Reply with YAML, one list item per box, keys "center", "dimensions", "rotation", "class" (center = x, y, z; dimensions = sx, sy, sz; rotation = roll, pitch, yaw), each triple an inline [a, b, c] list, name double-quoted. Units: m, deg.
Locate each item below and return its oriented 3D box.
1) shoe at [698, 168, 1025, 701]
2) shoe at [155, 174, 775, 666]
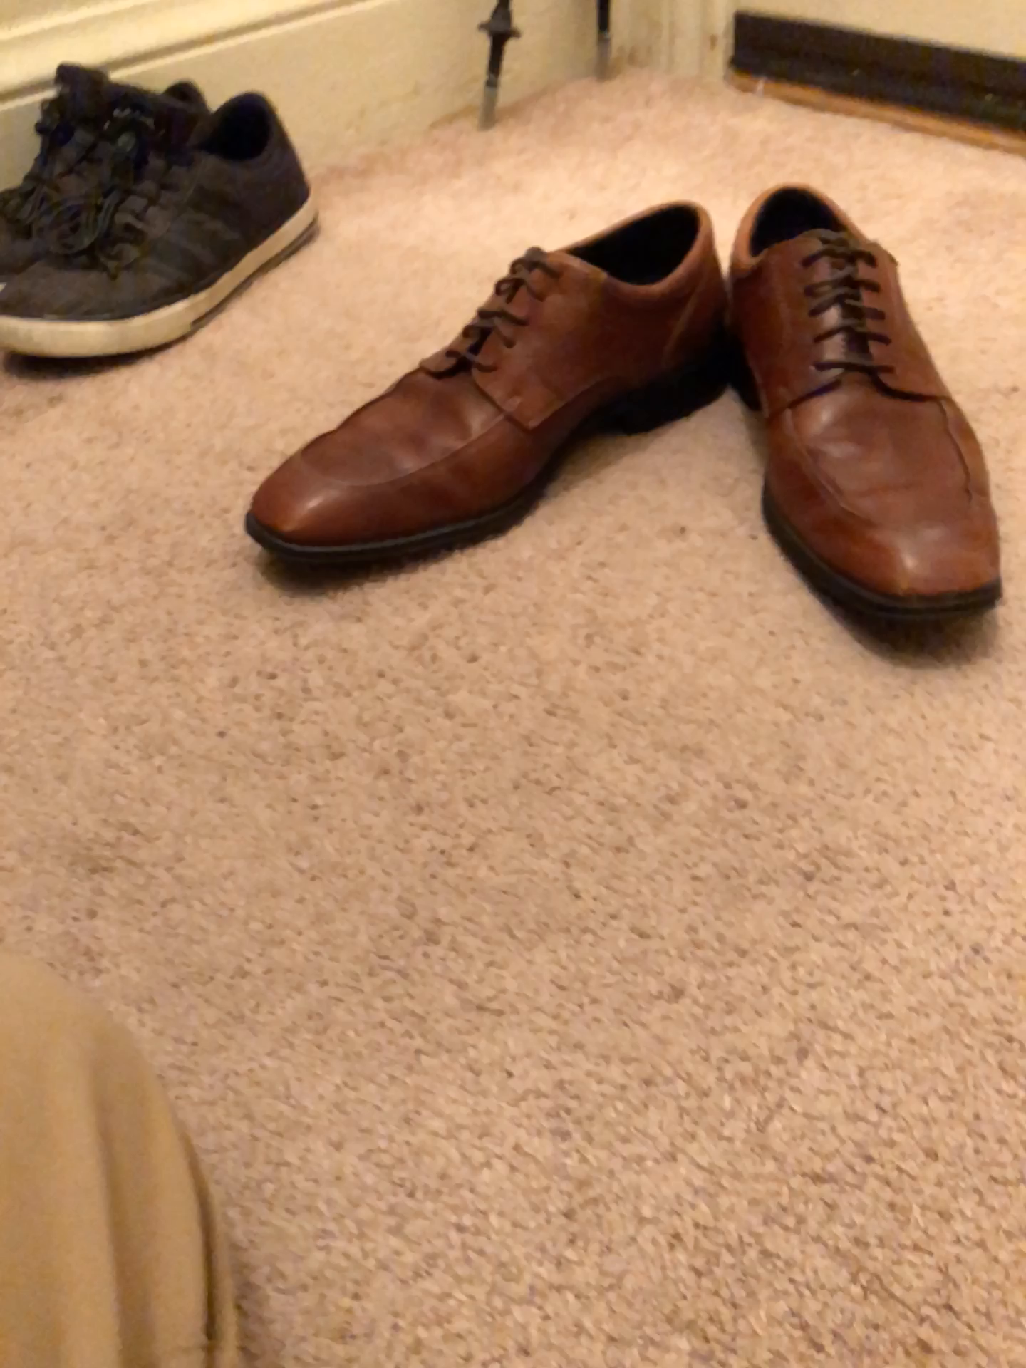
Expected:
- center: [0.169, -0.140, 0.563]
  dimensions: [0.100, 0.109, 0.302]
  rotation: [-5, 44, 0]
  class: "shoe"
- center: [-0.012, -0.154, 0.609]
  dimensions: [0.301, 0.119, 0.120]
  rotation: [-32, 50, -25]
  class: "shoe"
